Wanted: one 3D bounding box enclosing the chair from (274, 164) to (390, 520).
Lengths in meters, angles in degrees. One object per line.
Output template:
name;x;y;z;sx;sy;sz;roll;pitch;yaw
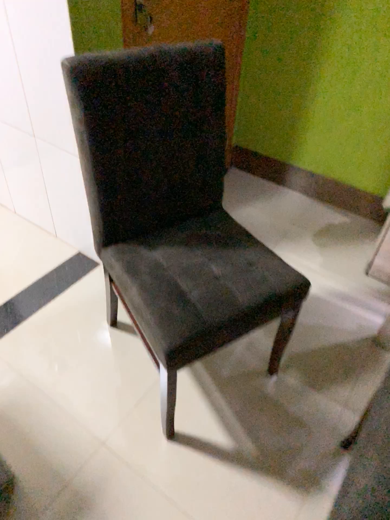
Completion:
chair;0.610;0.454;0.732;0.571;0.971;0.523;28;47;24

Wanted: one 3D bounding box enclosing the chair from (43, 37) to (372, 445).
chair;-0.026;-0.033;1.206;0.492;0.981;0.573;-22;48;-26
